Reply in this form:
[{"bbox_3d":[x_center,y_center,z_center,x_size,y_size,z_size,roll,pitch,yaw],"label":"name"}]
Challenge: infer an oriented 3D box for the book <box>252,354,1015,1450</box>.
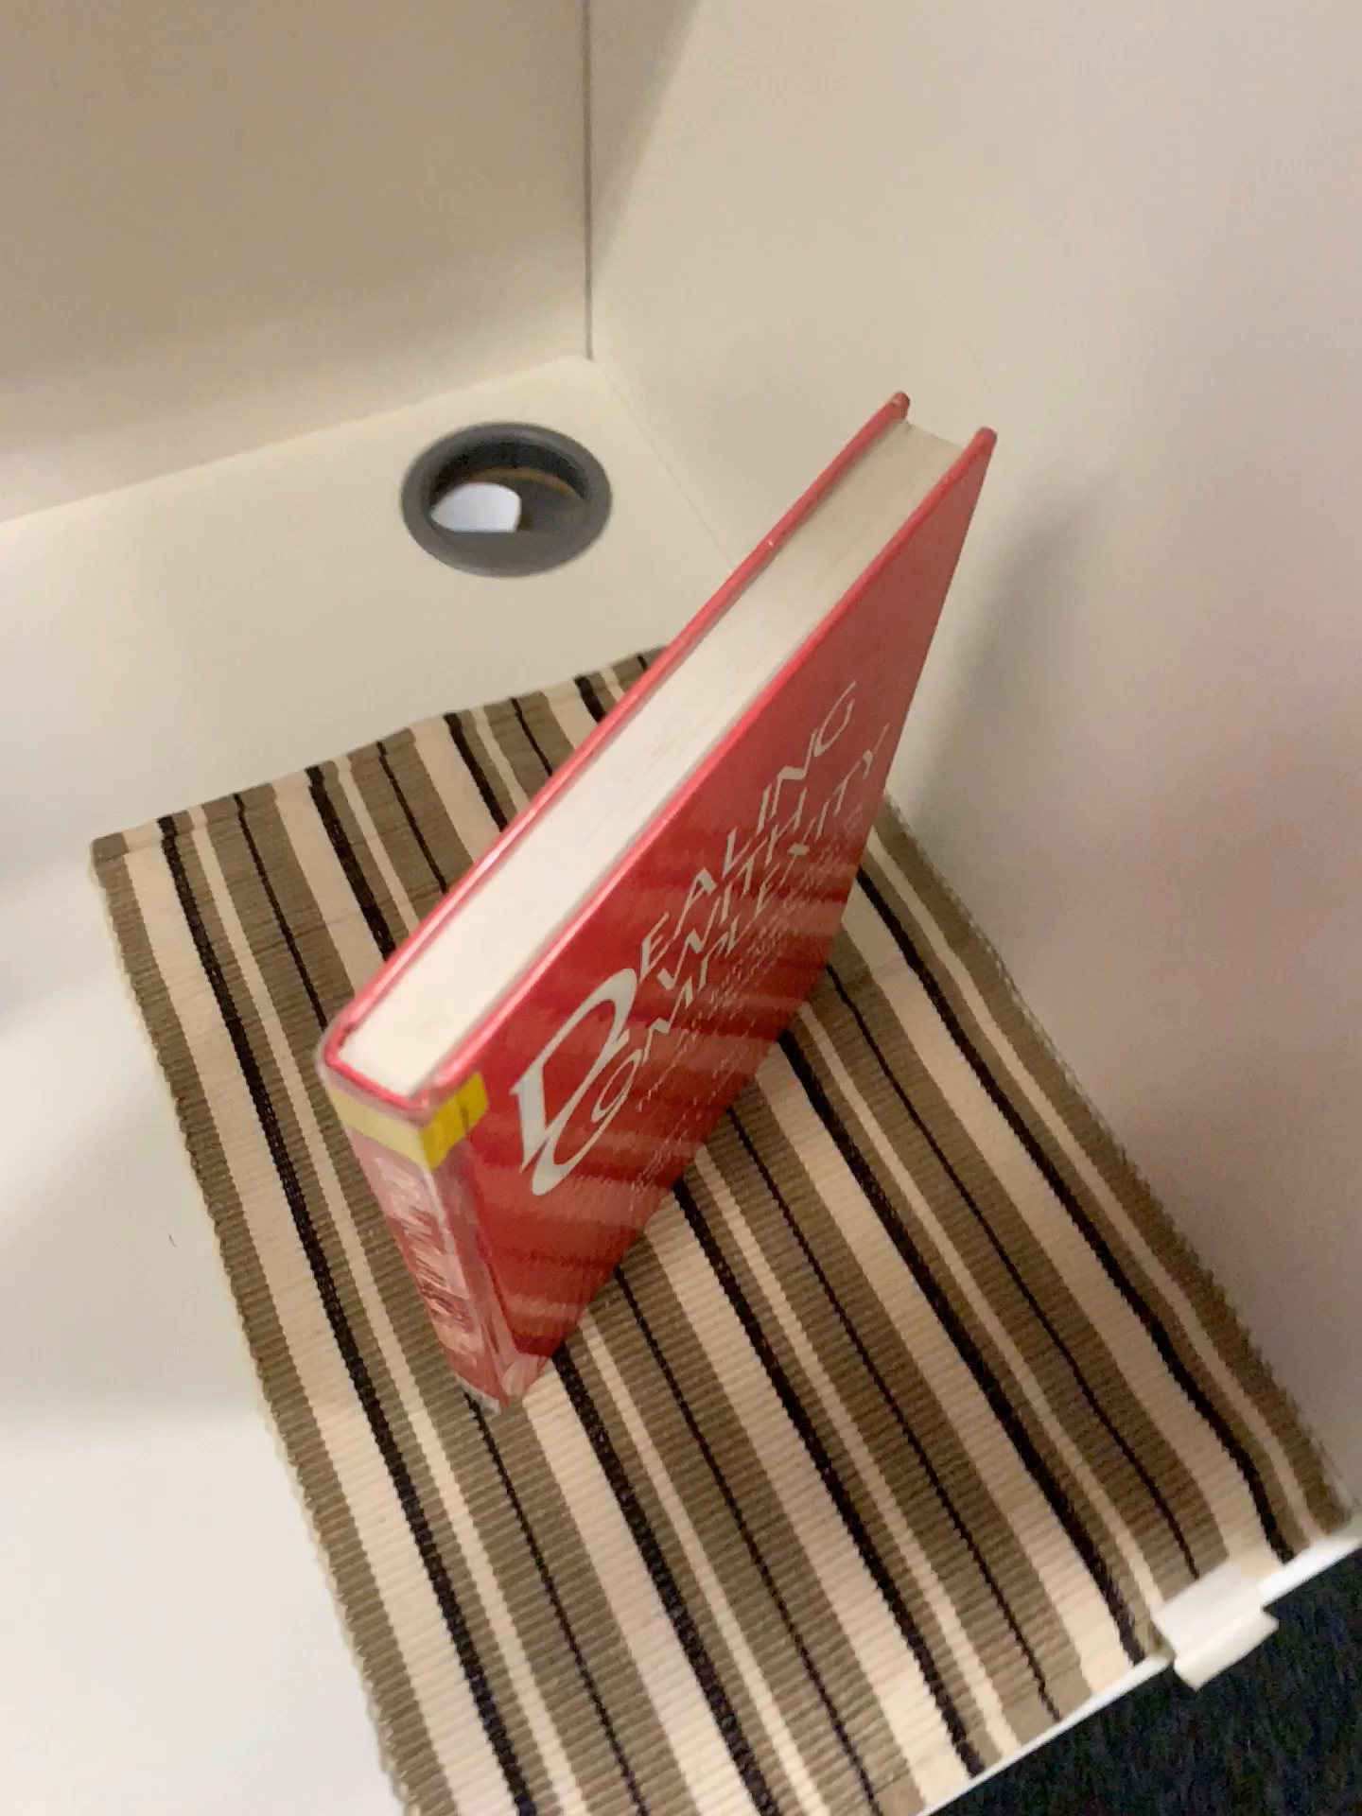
[{"bbox_3d":[-0.004,0.022,0.360,0.030,0.251,0.201,31,63,13],"label":"book"}]
